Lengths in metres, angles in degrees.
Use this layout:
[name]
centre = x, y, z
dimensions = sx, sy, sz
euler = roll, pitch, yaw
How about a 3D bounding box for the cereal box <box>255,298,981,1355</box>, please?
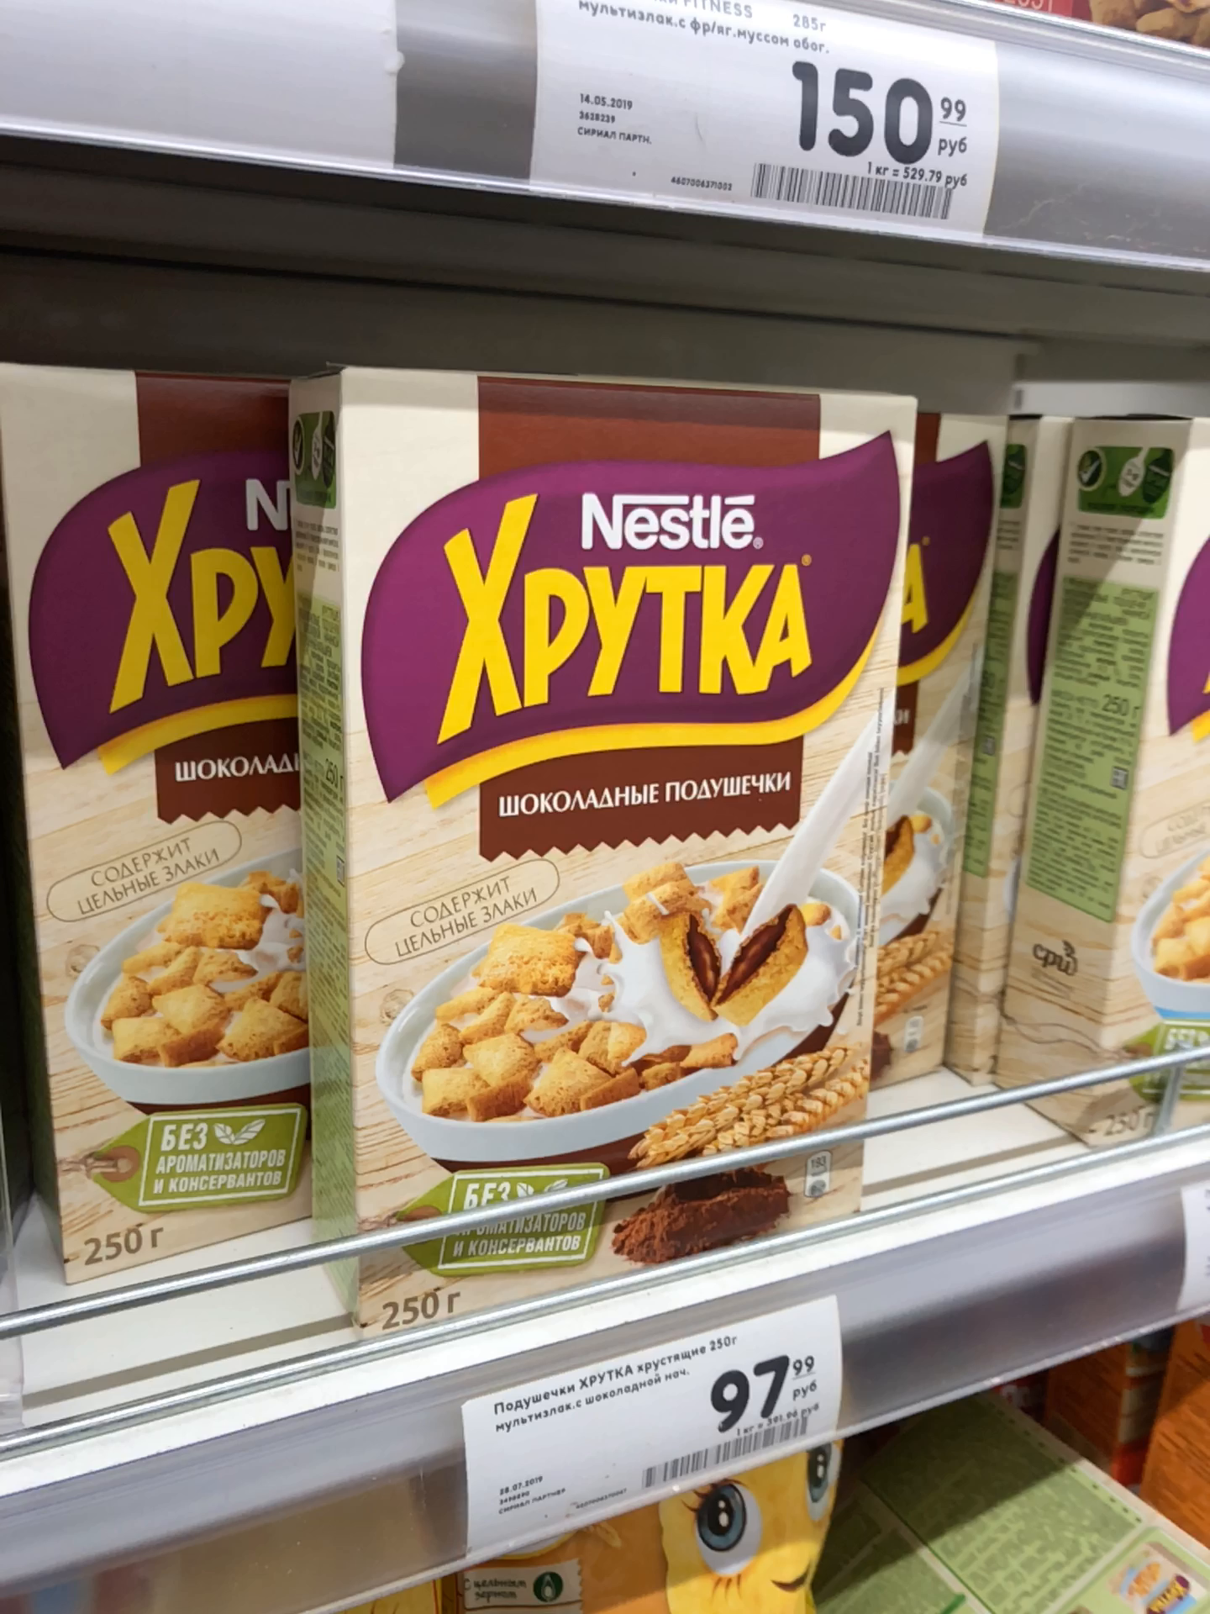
[cereal box]
centre = 0.005, 0.002, 0.323
dimensions = 0.160, 0.219, 0.040
euler = -5, 14, -25
